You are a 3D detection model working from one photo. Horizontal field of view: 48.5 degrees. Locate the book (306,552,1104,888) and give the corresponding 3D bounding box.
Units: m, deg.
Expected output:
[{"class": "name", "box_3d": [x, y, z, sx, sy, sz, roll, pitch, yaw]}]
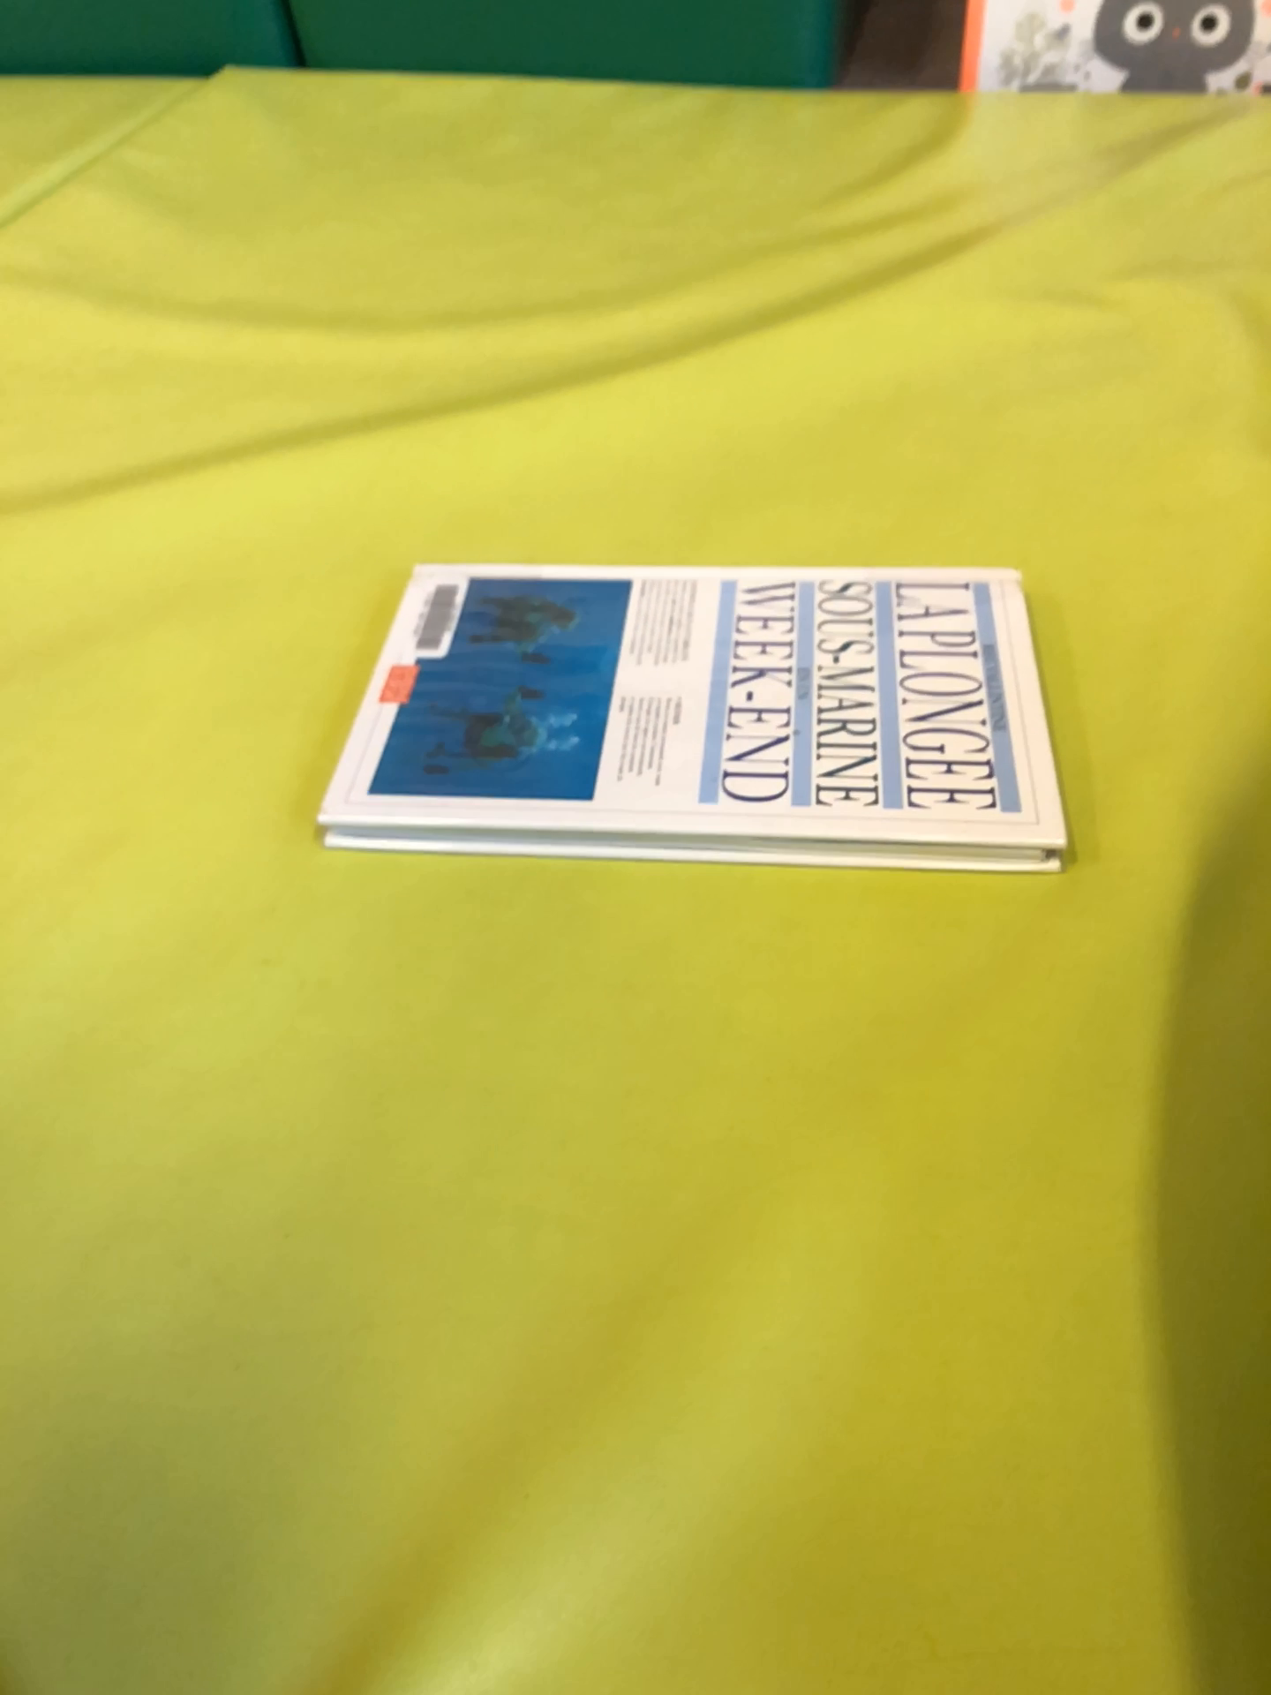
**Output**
[{"class": "book", "box_3d": [0.025, -0.050, 0.475, 0.234, 0.020, 0.151, 2, 43, 6]}]
